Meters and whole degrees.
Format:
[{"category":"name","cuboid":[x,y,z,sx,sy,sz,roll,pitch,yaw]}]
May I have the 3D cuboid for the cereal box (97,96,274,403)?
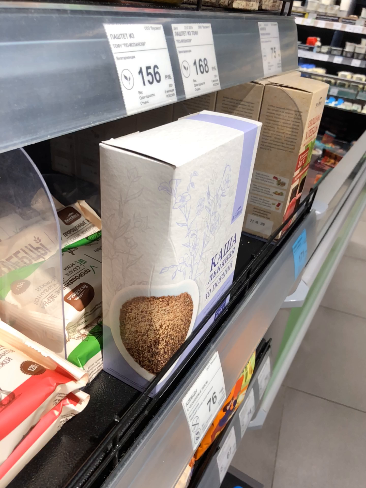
[{"category":"cereal box","cuboid":[0.004,-0.003,0.316,0.050,0.189,0.151,20,33,23]}]
